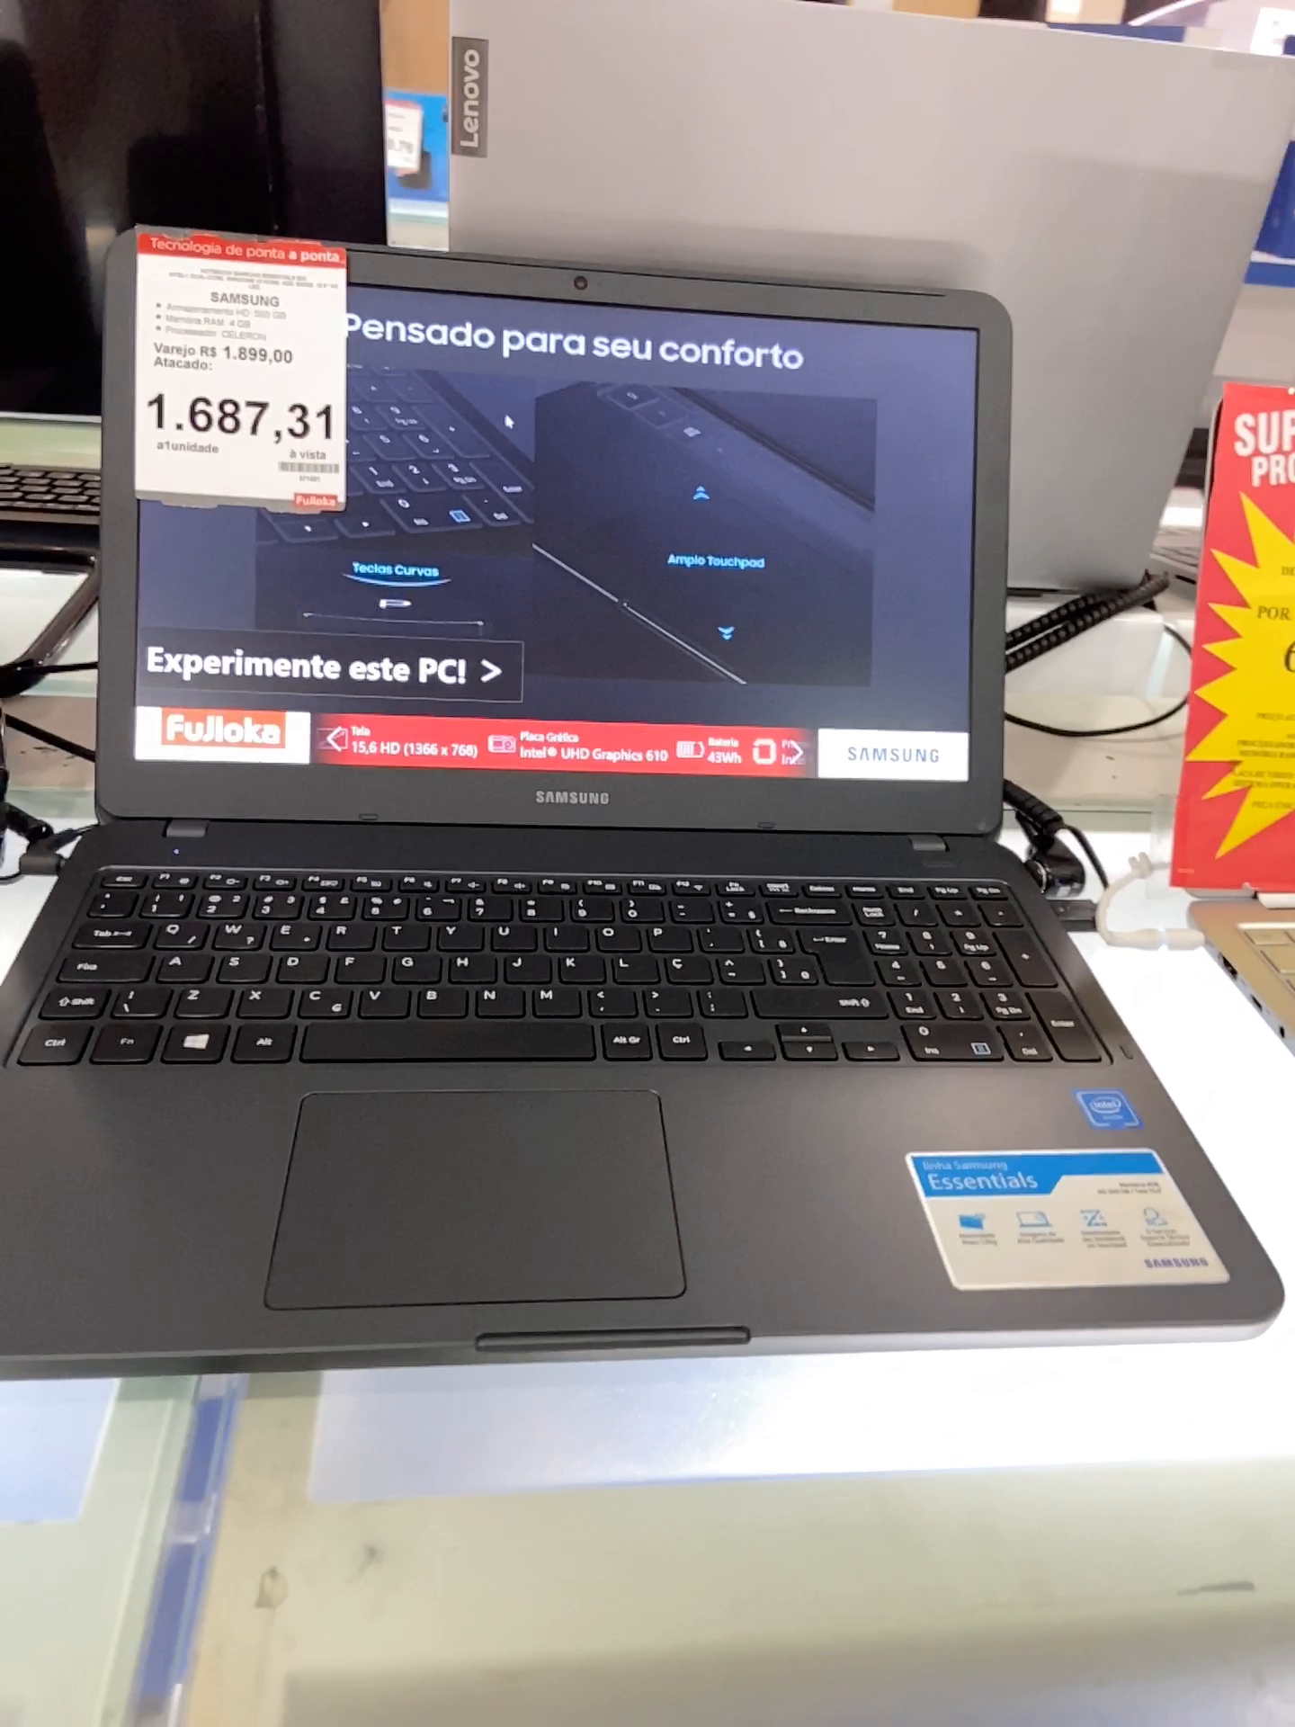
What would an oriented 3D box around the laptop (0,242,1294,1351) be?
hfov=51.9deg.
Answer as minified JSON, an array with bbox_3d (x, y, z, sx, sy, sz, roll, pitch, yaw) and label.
[{"bbox_3d":[-0.019,-0.064,0.445,0.366,0.196,0.372,1,32,-7],"label":"laptop"}]
